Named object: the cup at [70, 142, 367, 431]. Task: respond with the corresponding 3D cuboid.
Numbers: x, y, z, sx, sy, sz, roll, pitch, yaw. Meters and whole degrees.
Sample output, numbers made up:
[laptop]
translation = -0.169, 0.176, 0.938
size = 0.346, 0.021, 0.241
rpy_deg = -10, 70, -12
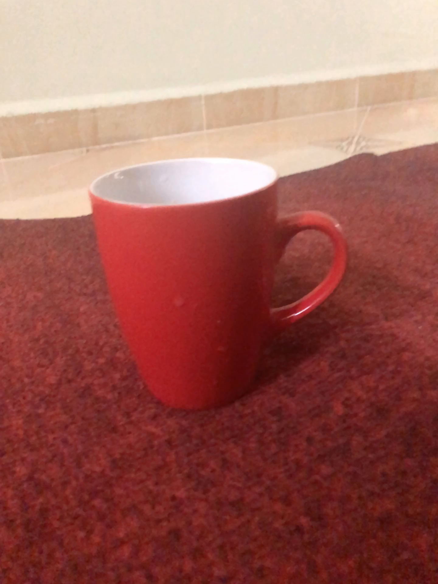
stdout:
[cup]
translation = -0.003, -0.011, 0.232
size = 0.109, 0.094, 0.078
rpy_deg = -13, 28, -17
